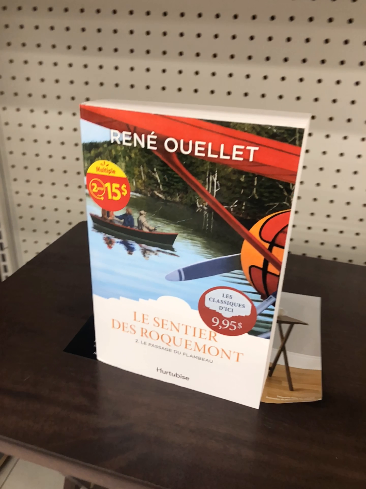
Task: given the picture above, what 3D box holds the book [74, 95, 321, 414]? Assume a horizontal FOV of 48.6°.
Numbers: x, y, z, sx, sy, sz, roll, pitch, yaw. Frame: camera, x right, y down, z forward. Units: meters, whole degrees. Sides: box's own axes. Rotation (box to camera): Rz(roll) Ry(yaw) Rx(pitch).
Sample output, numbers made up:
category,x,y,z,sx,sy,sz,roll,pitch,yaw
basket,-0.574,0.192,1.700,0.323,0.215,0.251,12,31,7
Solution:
category,x,y,z,sx,sy,sz,roll,pitch,yaw
book,0.006,0.007,0.316,0.153,0.215,0.065,11,27,16
